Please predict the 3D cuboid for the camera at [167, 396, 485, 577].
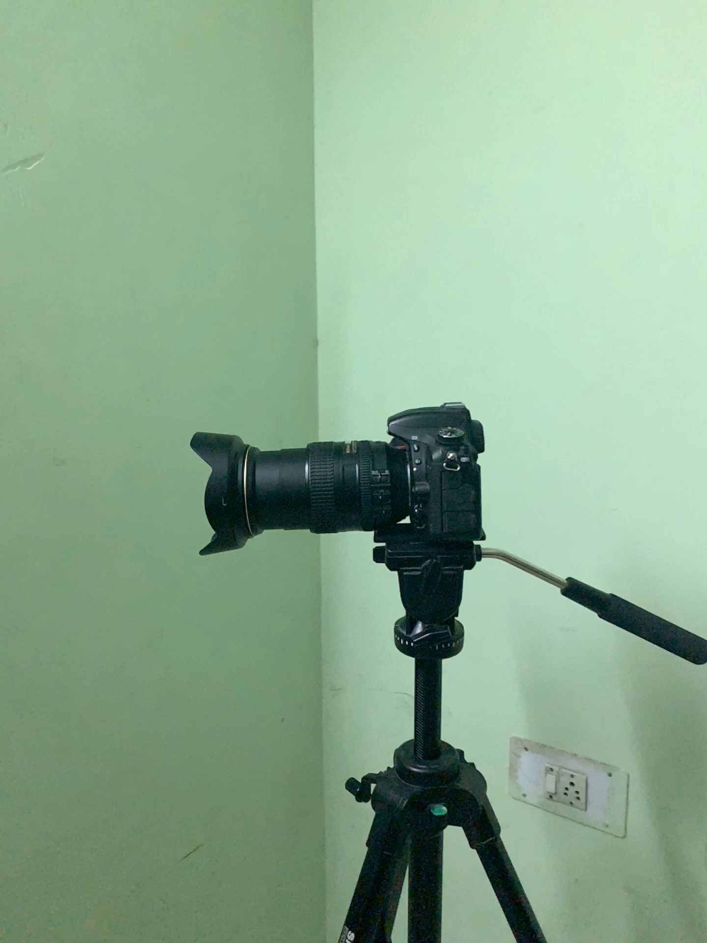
[{"bbox_3d":[-0.020,0.005,0.661,0.250,0.132,0.164,-1,11,1],"label":"camera"}]
